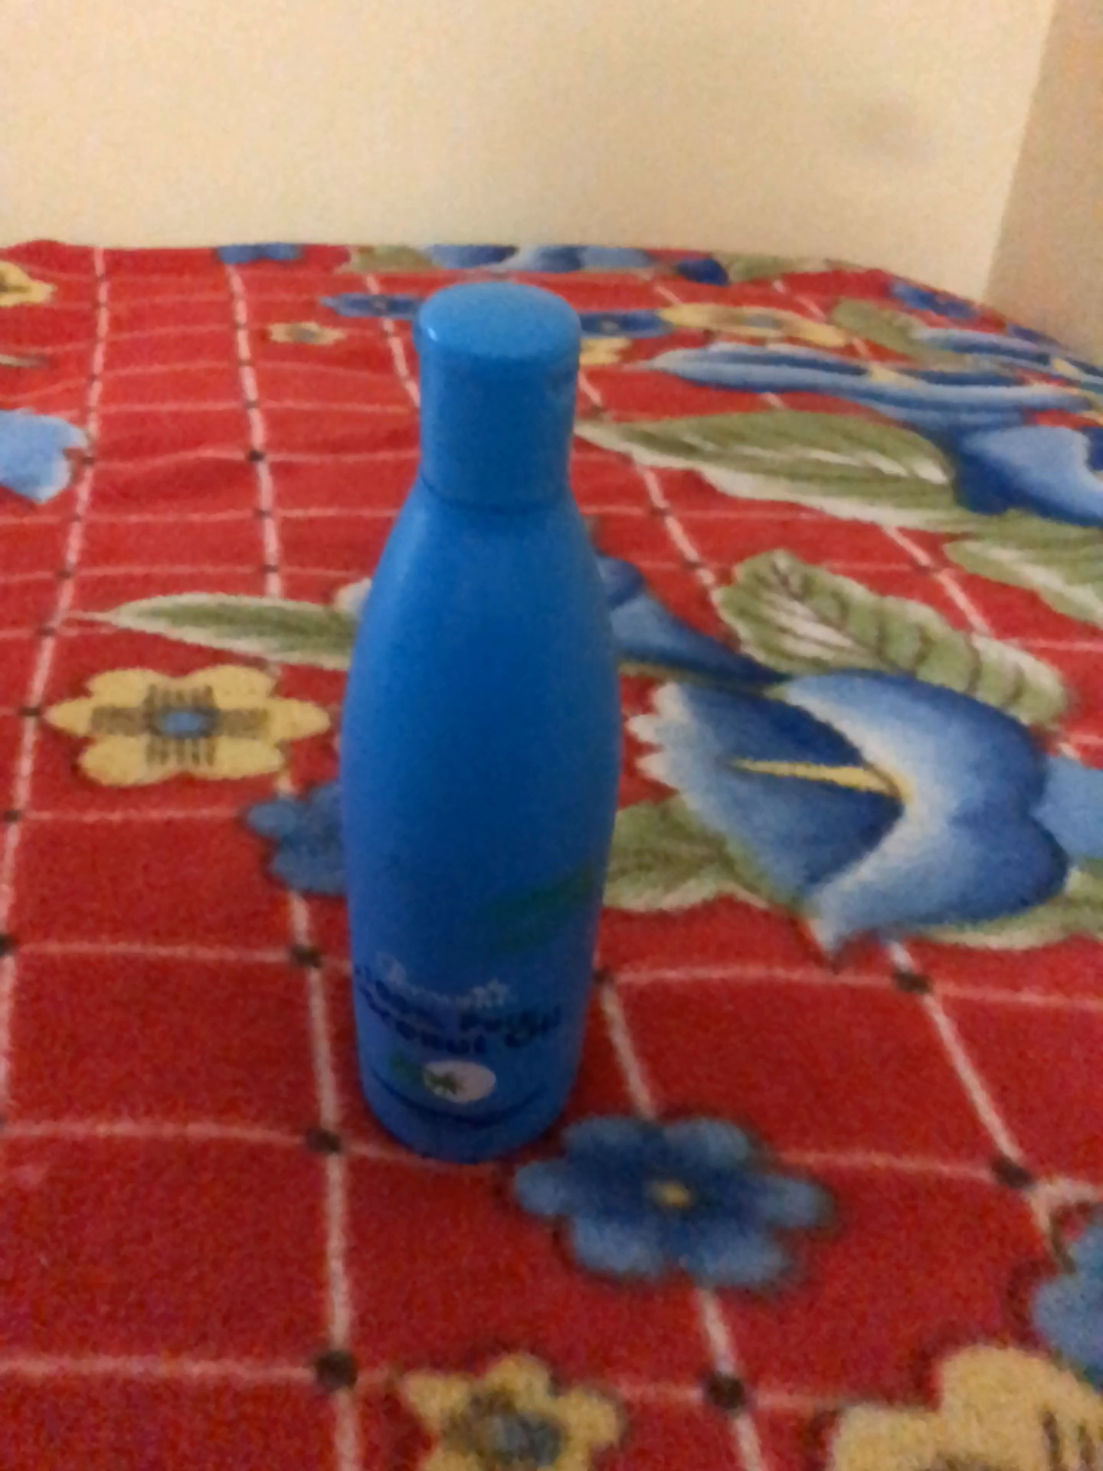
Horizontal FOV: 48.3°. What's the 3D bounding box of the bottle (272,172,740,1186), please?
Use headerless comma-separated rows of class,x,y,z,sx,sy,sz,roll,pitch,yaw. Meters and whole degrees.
bottle,-0.011,0.005,0.283,0.070,0.230,0.070,3,40,-2
